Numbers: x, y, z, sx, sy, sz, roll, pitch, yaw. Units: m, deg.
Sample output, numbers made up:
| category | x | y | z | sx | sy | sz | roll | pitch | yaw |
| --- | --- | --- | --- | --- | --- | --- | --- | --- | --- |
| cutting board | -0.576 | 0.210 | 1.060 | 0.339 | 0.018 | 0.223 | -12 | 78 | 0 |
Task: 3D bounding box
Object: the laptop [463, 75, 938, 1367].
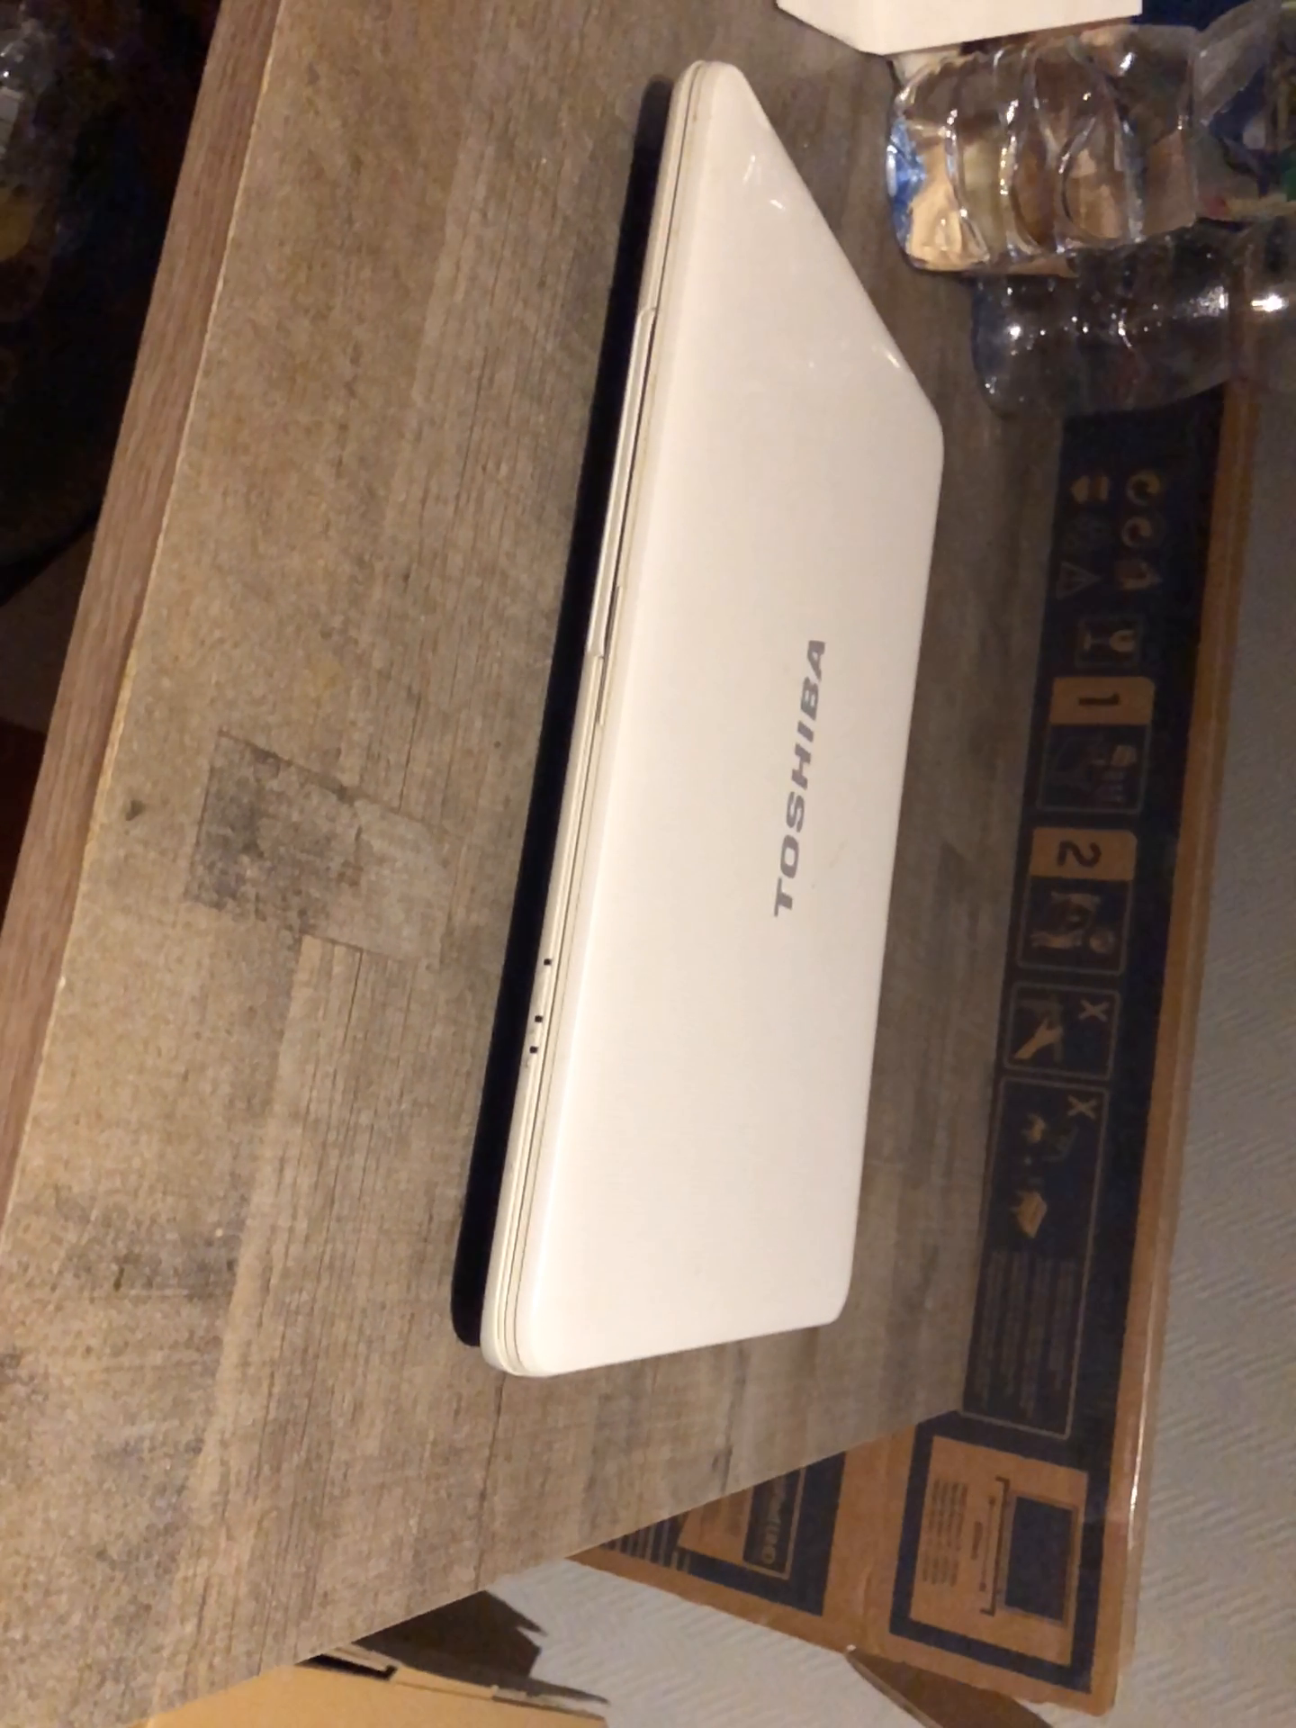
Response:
| category | x | y | z | sx | sy | sz | roll | pitch | yaw |
| --- | --- | --- | --- | --- | --- | --- | --- | --- | --- |
| laptop | 0.040 | -0.032 | 0.500 | 0.229 | 0.020 | 0.375 | 26 | 69 | -59 |
